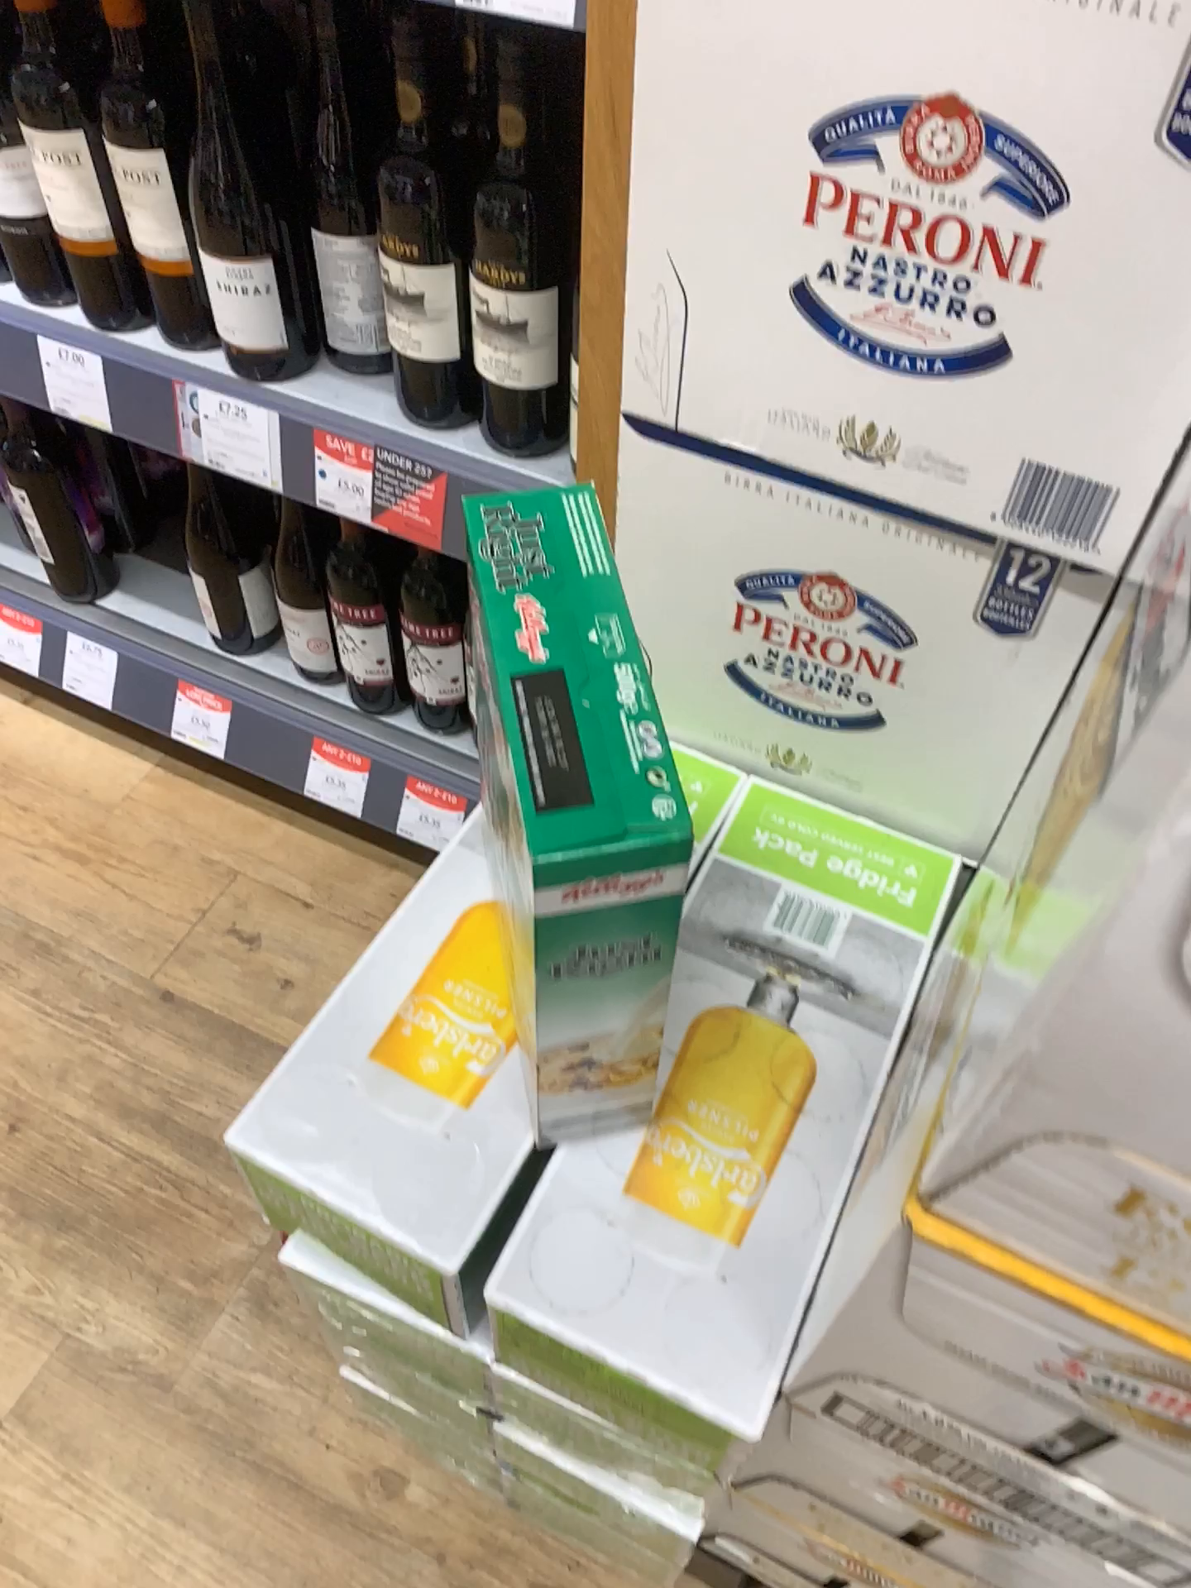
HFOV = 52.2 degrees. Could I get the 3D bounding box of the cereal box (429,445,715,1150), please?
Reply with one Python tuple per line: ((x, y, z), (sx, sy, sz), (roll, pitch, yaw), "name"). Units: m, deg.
((-0.017, 0.010, 0.525), (0.070, 0.238, 0.192), (-8, 52, -8), "cereal box")
